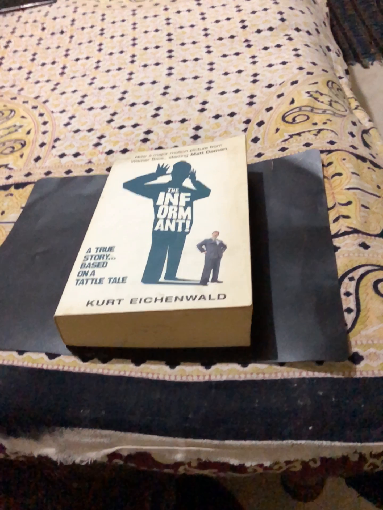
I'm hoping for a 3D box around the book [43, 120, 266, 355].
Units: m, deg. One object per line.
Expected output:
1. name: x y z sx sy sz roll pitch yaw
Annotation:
1. book: -0.014 -0.030 0.363 0.140 0.050 0.231 -4 44 10
